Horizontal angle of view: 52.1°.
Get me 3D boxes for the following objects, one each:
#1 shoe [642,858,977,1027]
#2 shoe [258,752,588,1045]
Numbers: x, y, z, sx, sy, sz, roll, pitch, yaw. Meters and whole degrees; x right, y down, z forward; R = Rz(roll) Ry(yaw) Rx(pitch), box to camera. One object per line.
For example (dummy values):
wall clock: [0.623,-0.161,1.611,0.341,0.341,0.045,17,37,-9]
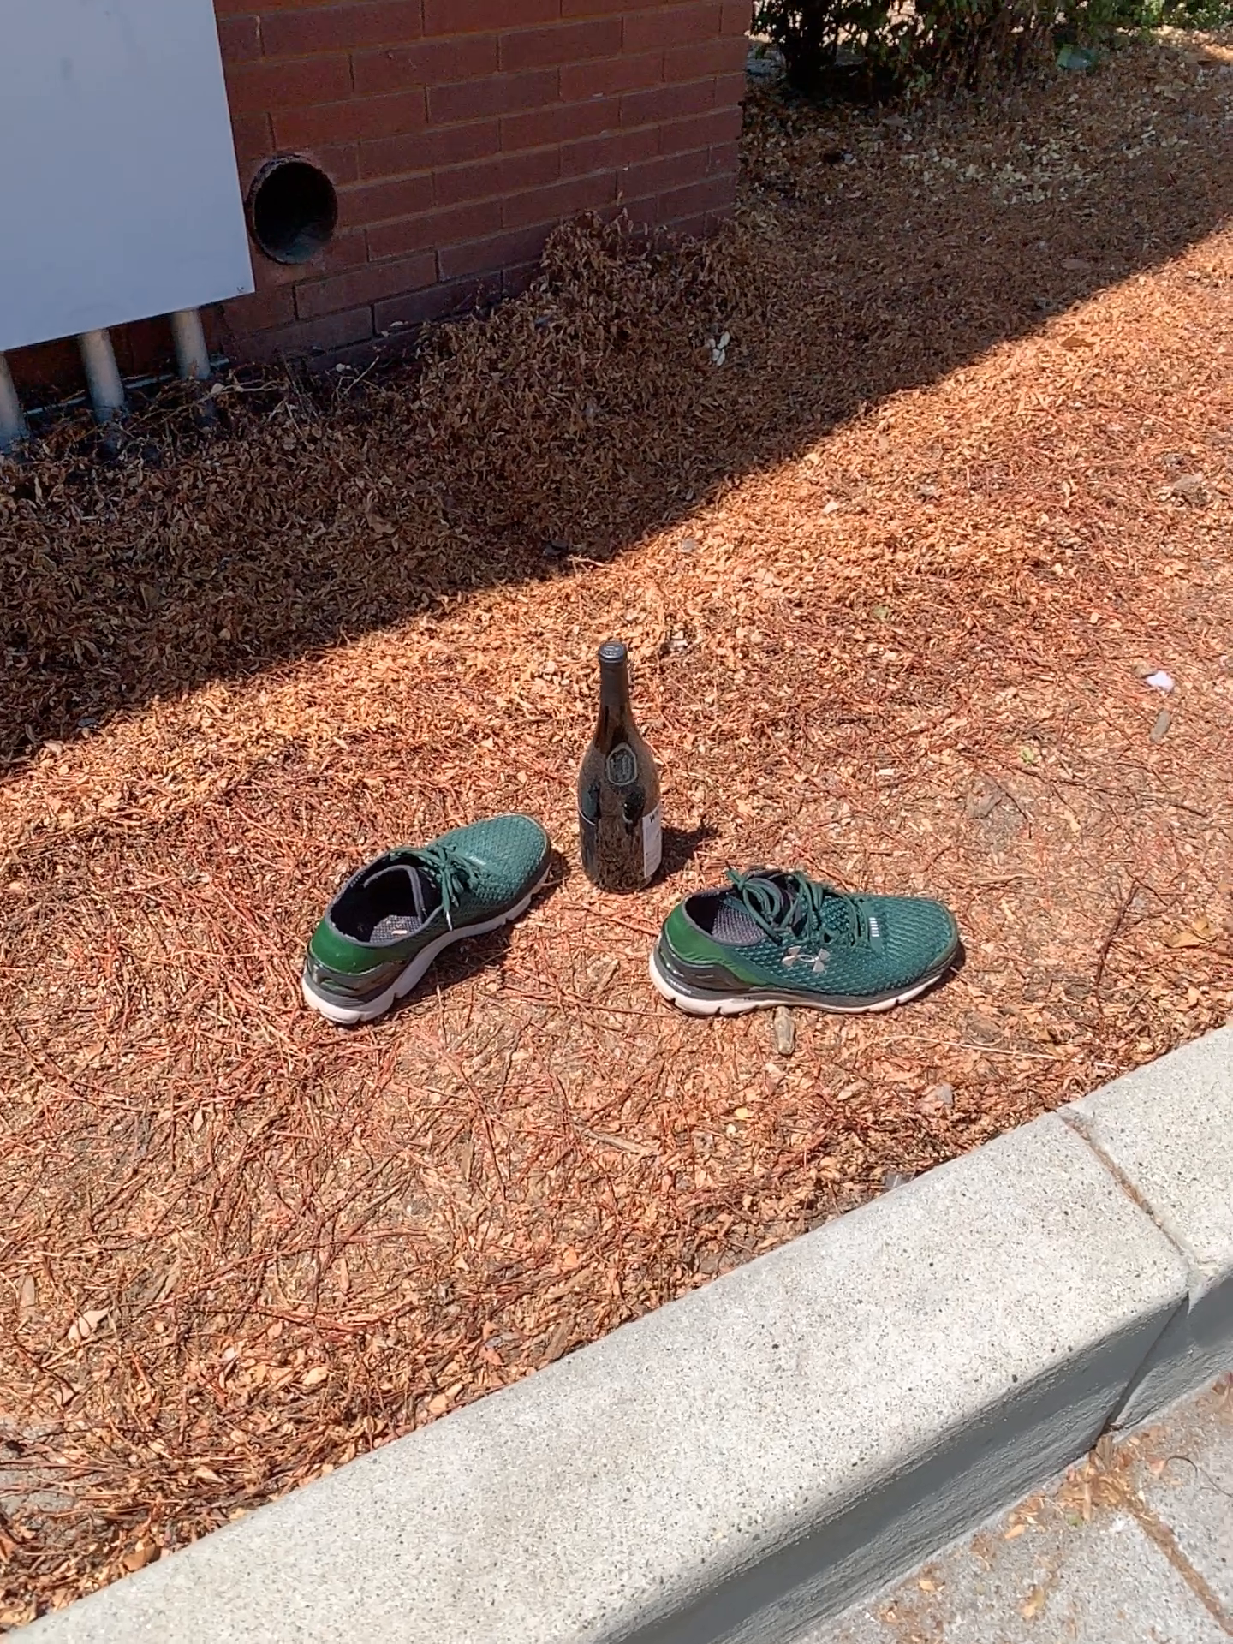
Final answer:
shoe: [0.176,0.114,1.207,0.290,0.099,0.121,-1,42,-4]
shoe: [-0.175,0.064,1.210,0.120,0.099,0.301,33,49,29]
